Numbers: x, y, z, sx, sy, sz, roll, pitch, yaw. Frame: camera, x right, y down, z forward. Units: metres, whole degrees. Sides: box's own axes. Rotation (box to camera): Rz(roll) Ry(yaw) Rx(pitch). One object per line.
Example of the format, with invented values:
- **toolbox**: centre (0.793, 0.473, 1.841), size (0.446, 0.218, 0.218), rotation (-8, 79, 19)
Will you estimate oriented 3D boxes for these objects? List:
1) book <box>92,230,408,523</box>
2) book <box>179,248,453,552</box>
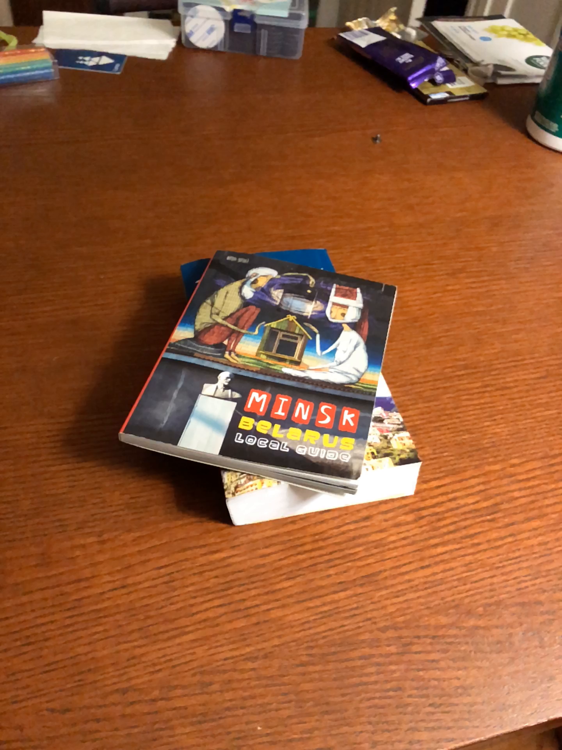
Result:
- **book**: centre (-0.005, -0.014, 0.388), size (0.150, 0.020, 0.191), rotation (13, 48, 5)
- **book**: centre (0.009, 0.000, 0.429), size (0.130, 0.040, 0.221), rotation (-6, 49, -12)
